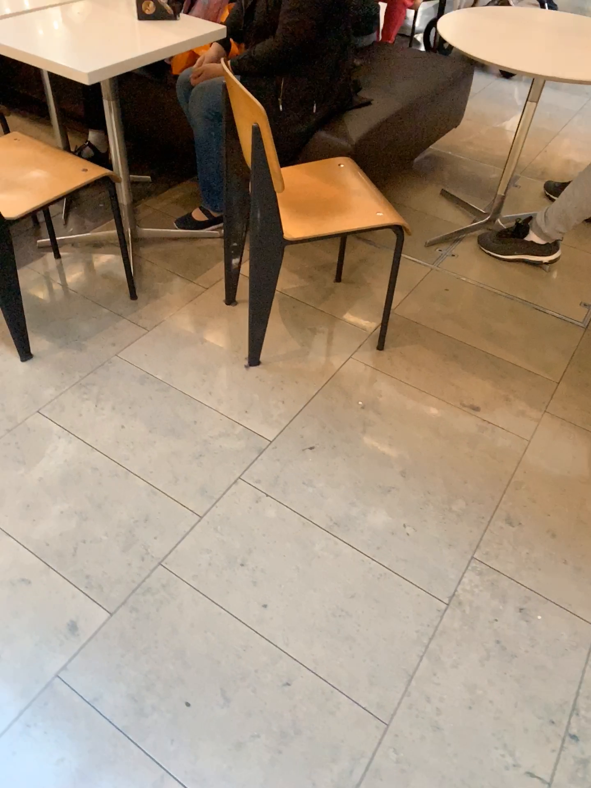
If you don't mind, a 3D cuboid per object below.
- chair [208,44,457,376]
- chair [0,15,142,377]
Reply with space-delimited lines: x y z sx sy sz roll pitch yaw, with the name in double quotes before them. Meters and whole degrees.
"chair" 0.050 -0.514 1.741 0.495 0.767 0.421 -11 47 -15
"chair" -0.816 -0.553 1.718 0.428 0.767 0.498 28 49 21
